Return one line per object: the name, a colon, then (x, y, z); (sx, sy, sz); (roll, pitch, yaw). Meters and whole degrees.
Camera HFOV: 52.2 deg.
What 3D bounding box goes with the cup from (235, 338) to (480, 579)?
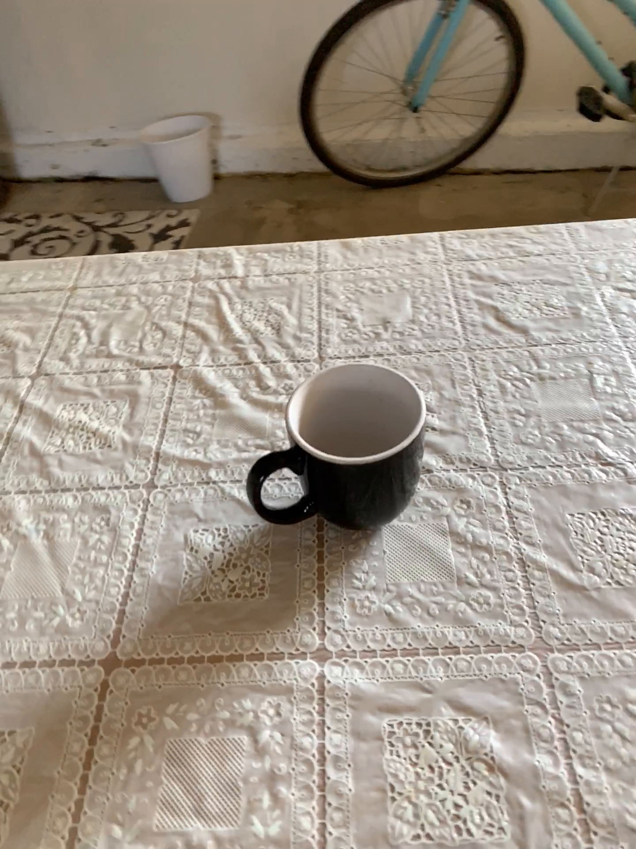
cup: (0.027, 0.024, 0.478); (0.140, 0.100, 0.100); (-17, 49, -8)
